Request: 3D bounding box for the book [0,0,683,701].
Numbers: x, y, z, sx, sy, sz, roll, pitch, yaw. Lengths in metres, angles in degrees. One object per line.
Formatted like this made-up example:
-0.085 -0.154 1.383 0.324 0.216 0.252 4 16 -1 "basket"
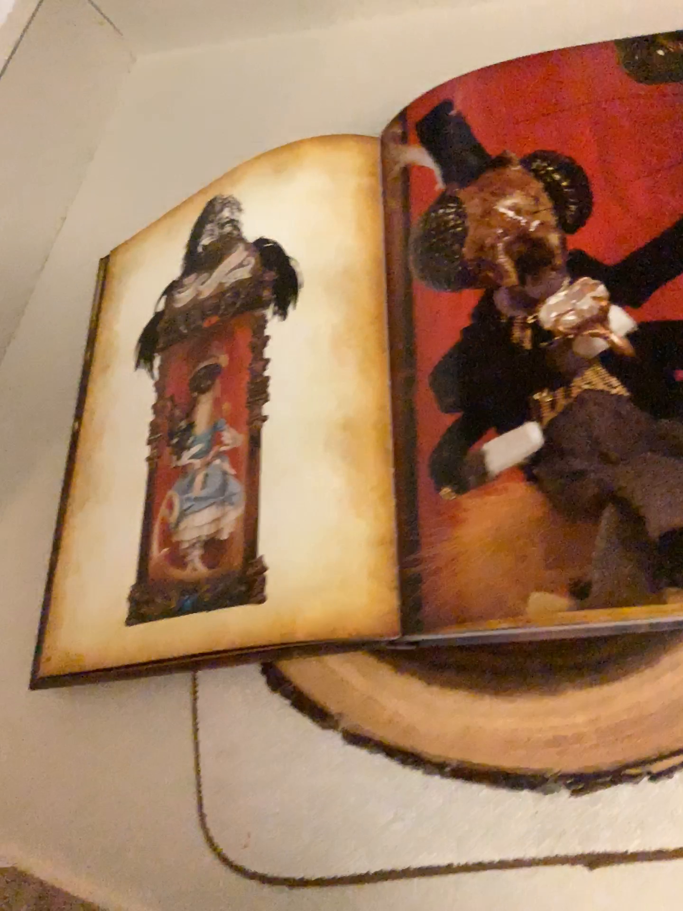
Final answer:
0.020 -0.069 0.393 0.470 0.040 0.340 -11 63 20 "book"
